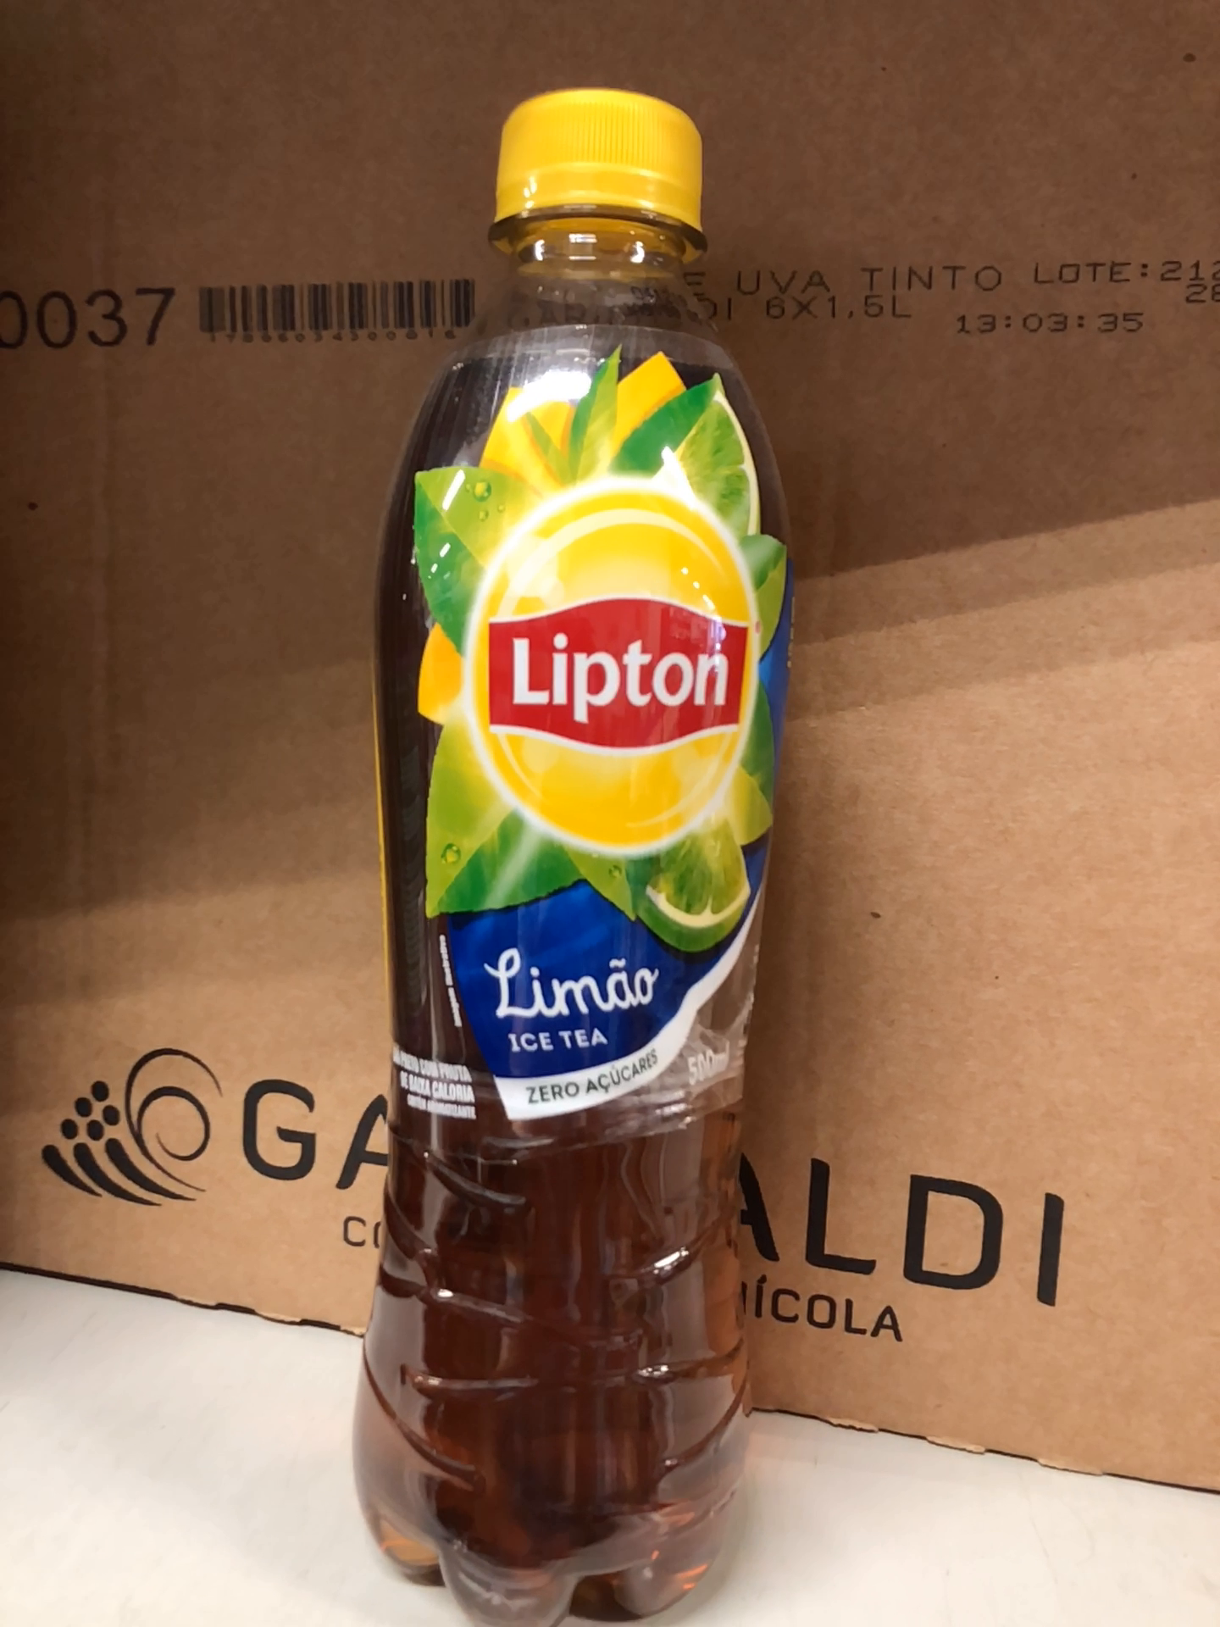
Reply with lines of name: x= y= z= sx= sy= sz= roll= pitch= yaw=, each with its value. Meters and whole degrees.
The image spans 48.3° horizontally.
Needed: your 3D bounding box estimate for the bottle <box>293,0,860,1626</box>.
bottle: x=-0.011 y=0.007 z=0.211 sx=0.070 sy=0.219 sz=0.060 roll=0 pitch=8 yaw=-10
